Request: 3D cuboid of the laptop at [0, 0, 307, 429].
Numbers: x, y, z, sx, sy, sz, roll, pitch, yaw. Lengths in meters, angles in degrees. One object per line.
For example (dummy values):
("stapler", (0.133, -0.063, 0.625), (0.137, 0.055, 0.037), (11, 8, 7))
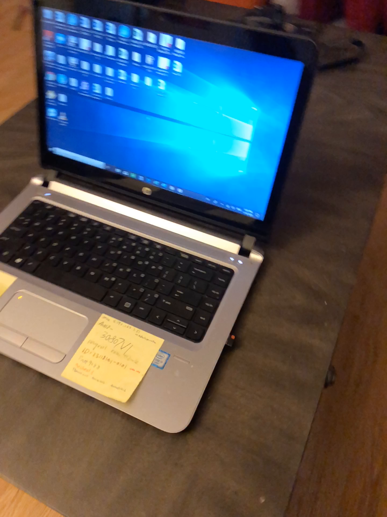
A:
("laptop", (-0.103, -0.075, 0.430), (0.319, 0.208, 0.307), (20, 55, 15))
